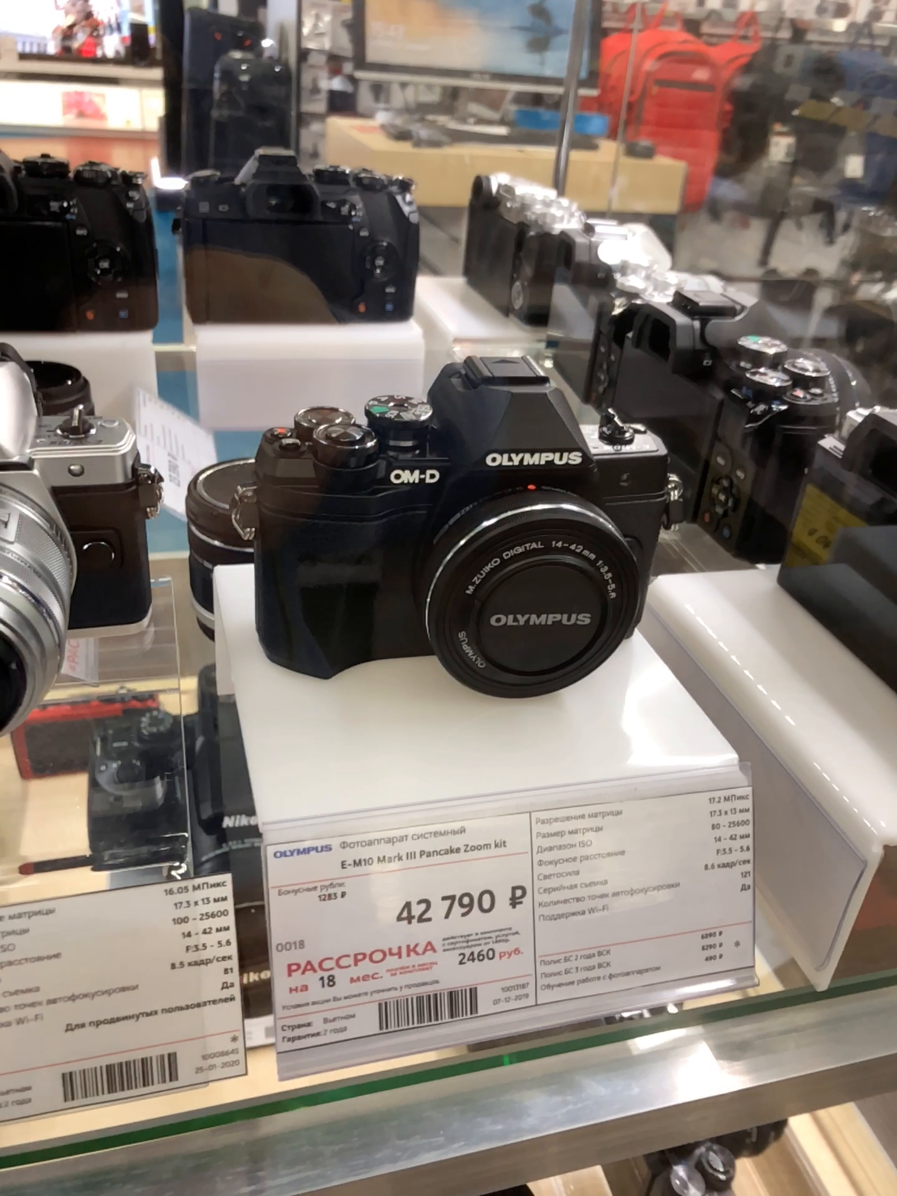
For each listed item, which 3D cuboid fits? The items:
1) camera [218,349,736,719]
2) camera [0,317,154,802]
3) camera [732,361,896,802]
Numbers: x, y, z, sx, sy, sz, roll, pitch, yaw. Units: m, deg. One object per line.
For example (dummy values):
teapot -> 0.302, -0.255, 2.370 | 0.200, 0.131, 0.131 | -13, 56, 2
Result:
camera -> 0.002, -0.022, 0.290 | 0.129, 0.082, 0.064 | -3, 31, -13
camera -> -0.137, -0.017, 0.250 | 0.112, 0.080, 0.094 | -3, 31, -13
camera -> 0.167, -0.015, 0.301 | 0.094, 0.074, 0.124 | -5, 32, -16
